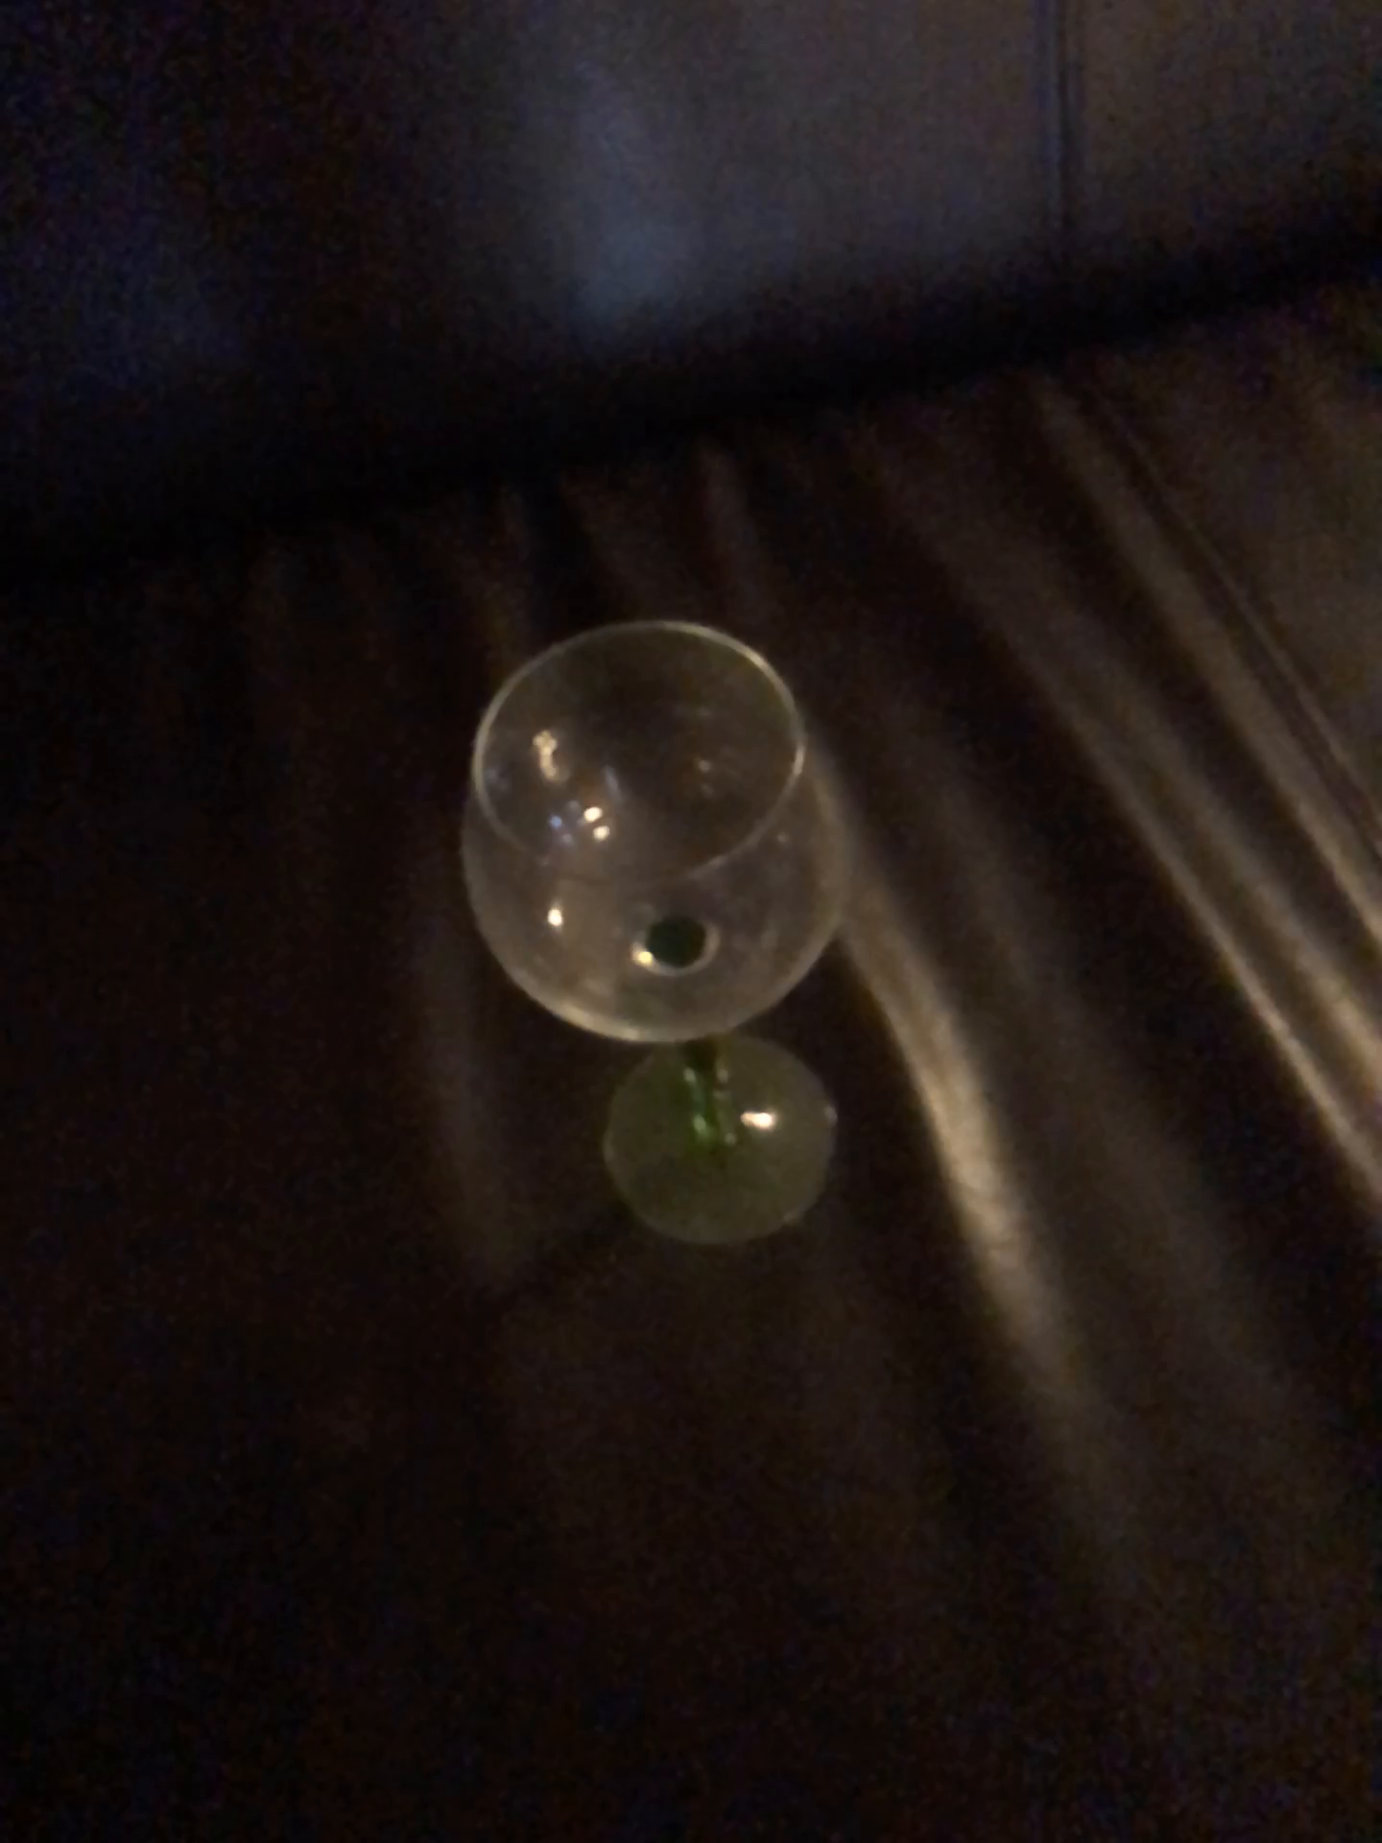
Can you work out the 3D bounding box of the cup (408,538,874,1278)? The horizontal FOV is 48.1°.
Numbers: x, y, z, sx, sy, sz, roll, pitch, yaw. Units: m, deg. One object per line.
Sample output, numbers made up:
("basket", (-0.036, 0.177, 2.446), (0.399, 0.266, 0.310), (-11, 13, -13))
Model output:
("cup", (-0.004, 0.010, 0.373), (0.080, 0.185, 0.080), (-3, 58, 5))
